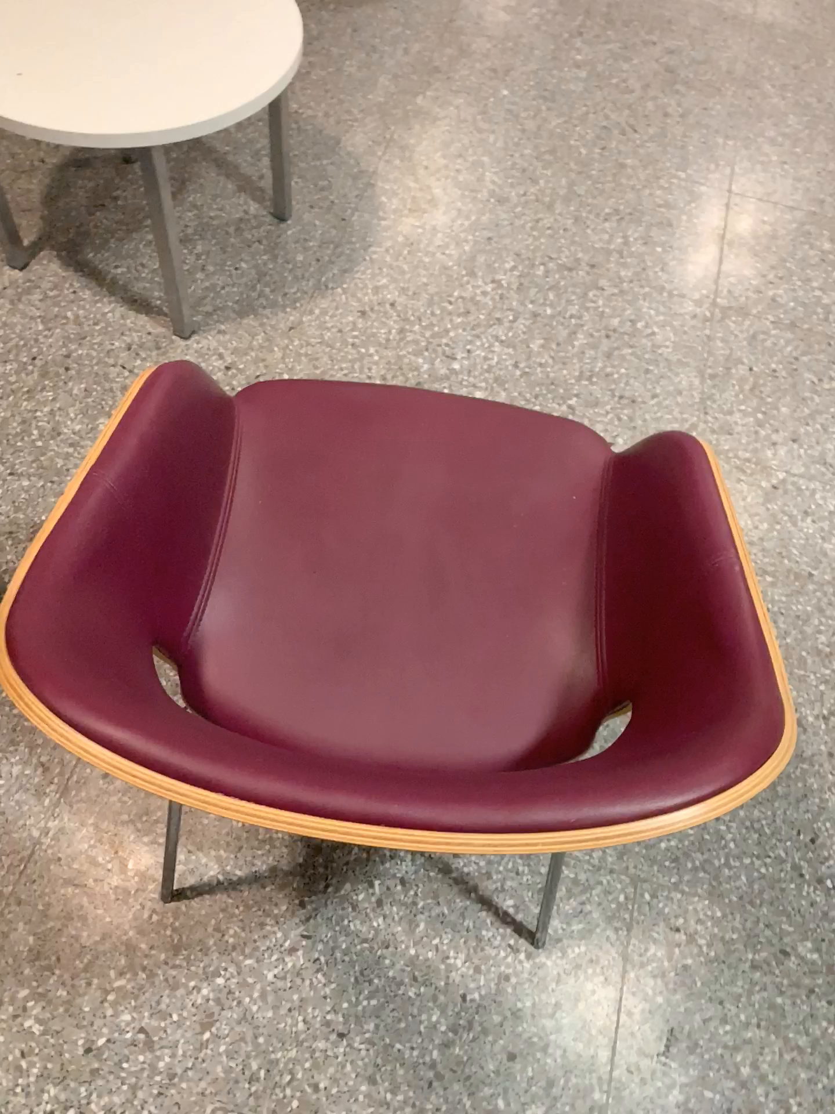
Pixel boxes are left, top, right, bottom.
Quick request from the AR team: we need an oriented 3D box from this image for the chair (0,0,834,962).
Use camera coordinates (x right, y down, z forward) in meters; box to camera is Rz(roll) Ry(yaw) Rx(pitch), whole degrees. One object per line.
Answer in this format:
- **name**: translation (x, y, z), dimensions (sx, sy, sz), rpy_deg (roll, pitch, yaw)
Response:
- **chair**: translation (-0.008, 0.003, 0.890), dimensions (0.570, 0.735, 0.634), rpy_deg (8, 59, -1)
